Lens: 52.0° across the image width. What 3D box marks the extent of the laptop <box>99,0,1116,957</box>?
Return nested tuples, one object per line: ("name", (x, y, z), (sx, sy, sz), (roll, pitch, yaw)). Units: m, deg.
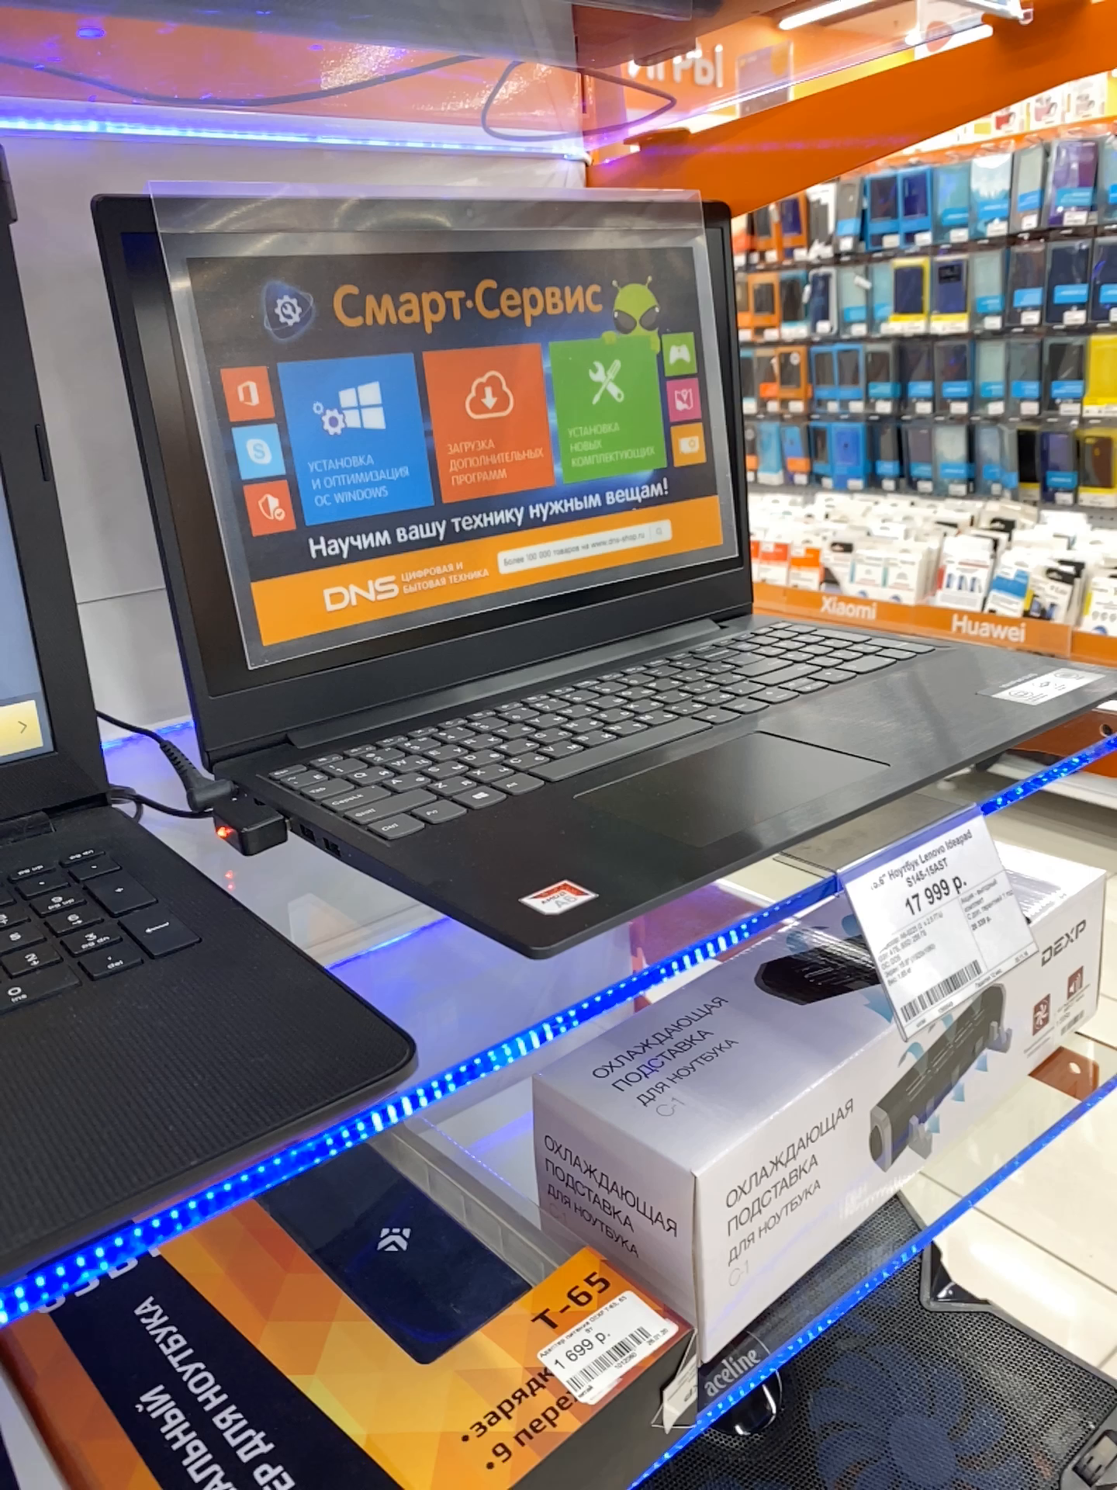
("laptop", (0.049, -0.126, 0.485), (0.357, 0.236, 0.266), (-18, 23, -36))
